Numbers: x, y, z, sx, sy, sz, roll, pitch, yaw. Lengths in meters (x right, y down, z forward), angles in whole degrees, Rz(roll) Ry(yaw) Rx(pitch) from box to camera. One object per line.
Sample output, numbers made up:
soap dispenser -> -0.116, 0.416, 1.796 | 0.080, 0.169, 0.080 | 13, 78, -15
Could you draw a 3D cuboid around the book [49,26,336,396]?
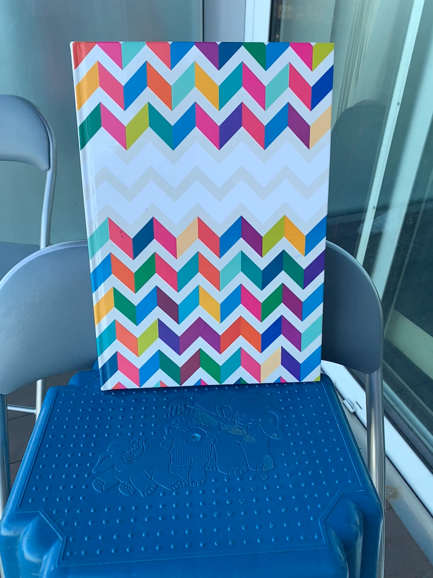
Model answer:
book -> -0.014, -0.055, 0.374 | 0.211, 0.289, 0.030 | -2, 13, -3
